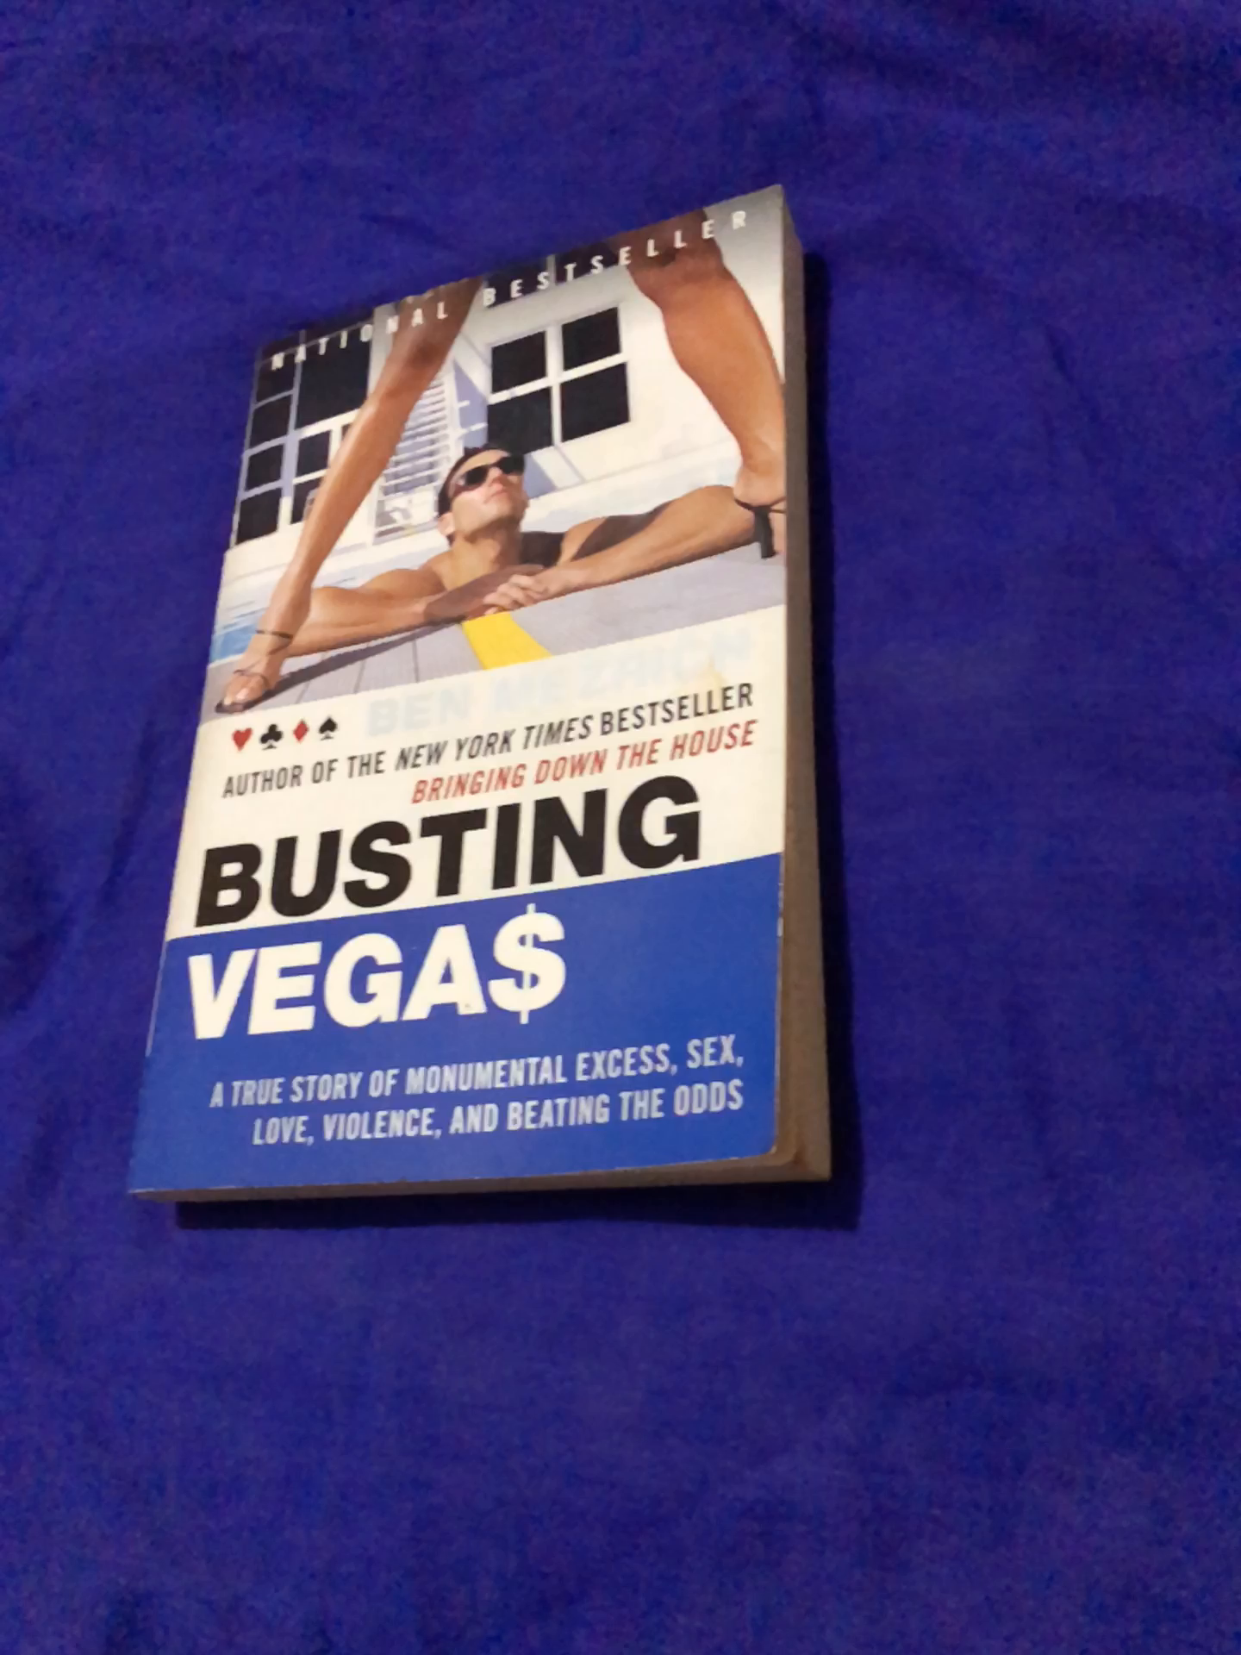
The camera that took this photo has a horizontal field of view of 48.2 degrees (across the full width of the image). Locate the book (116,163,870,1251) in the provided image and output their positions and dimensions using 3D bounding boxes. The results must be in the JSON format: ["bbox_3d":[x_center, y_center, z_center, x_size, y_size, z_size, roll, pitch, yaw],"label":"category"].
[{"bbox_3d":[-0.021,-0.025,0.287,0.130,0.040,0.210,-8,65,23],"label":"book"}]
